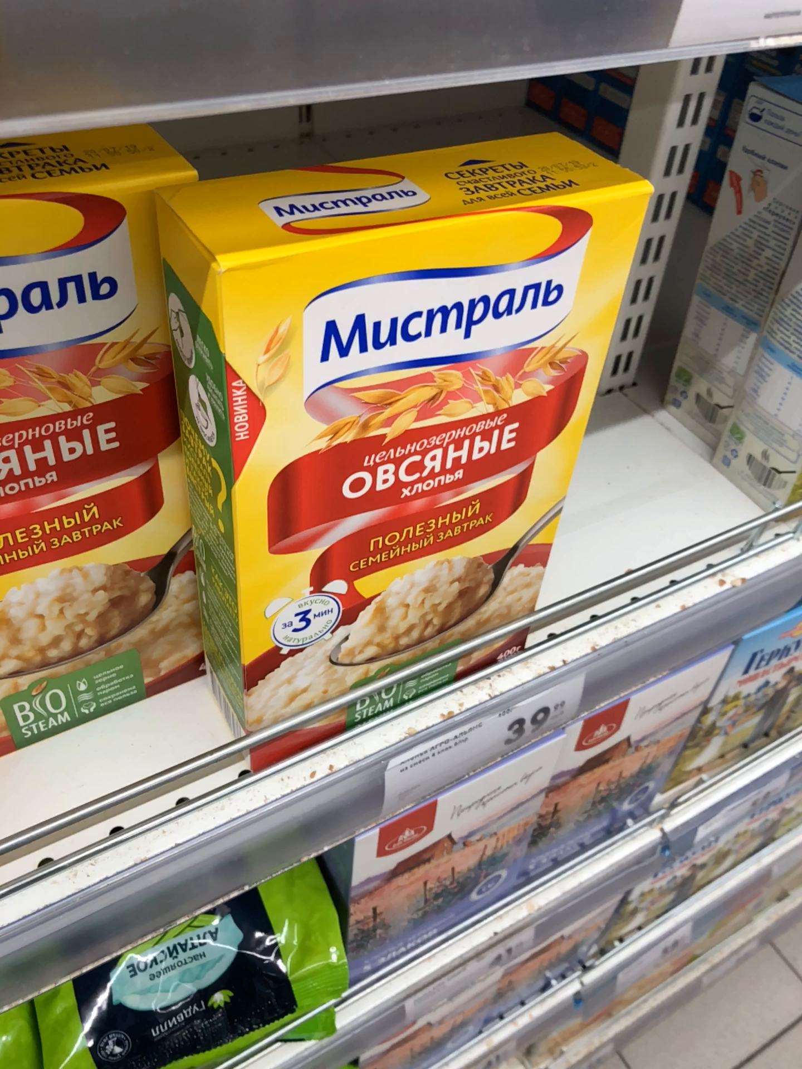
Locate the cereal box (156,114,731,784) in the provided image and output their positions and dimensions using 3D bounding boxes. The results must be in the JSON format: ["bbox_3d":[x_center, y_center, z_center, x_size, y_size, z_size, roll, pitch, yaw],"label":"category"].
[{"bbox_3d":[0.009,-0.020,0.309,0.150,0.209,0.050,-18,47,-23],"label":"cereal box"}]
